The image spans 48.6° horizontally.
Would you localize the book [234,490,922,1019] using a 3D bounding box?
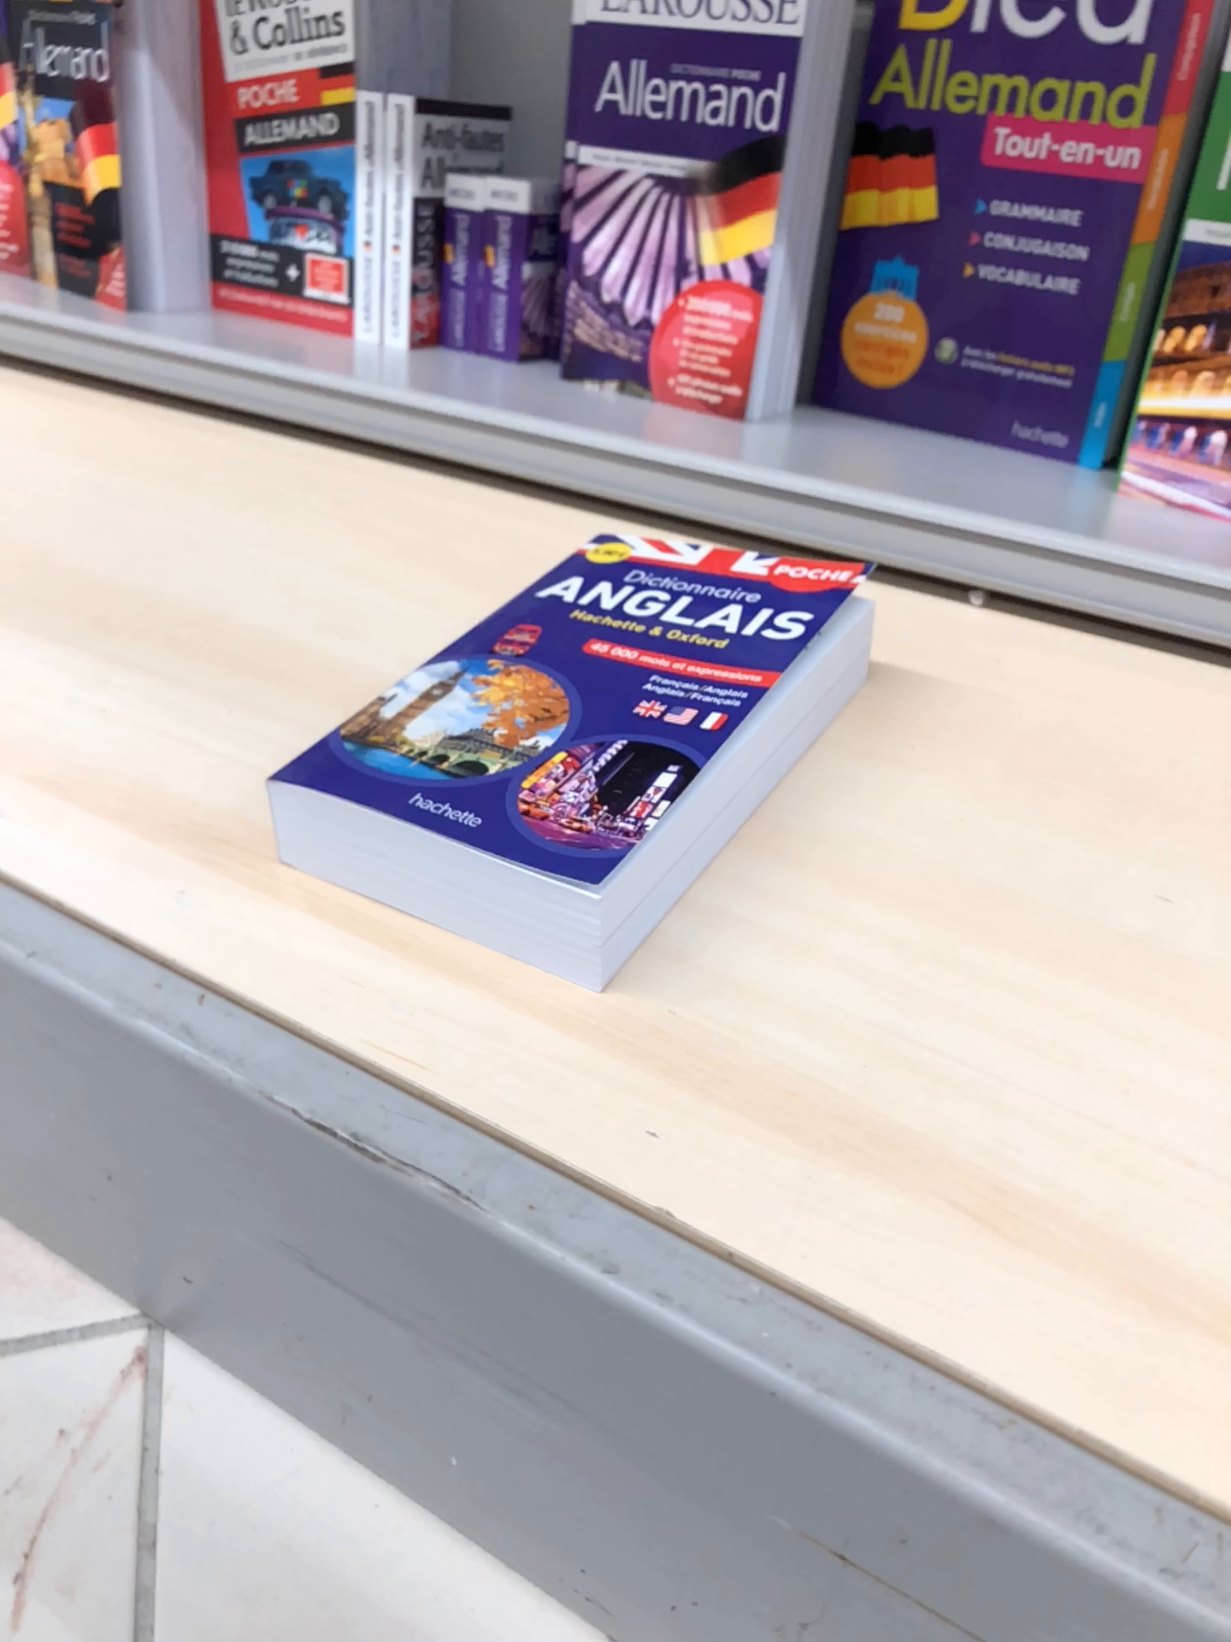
[{"bbox_3d":[0.000,-0.035,0.406,0.119,0.040,0.188,19,41,24],"label":"book"}]
